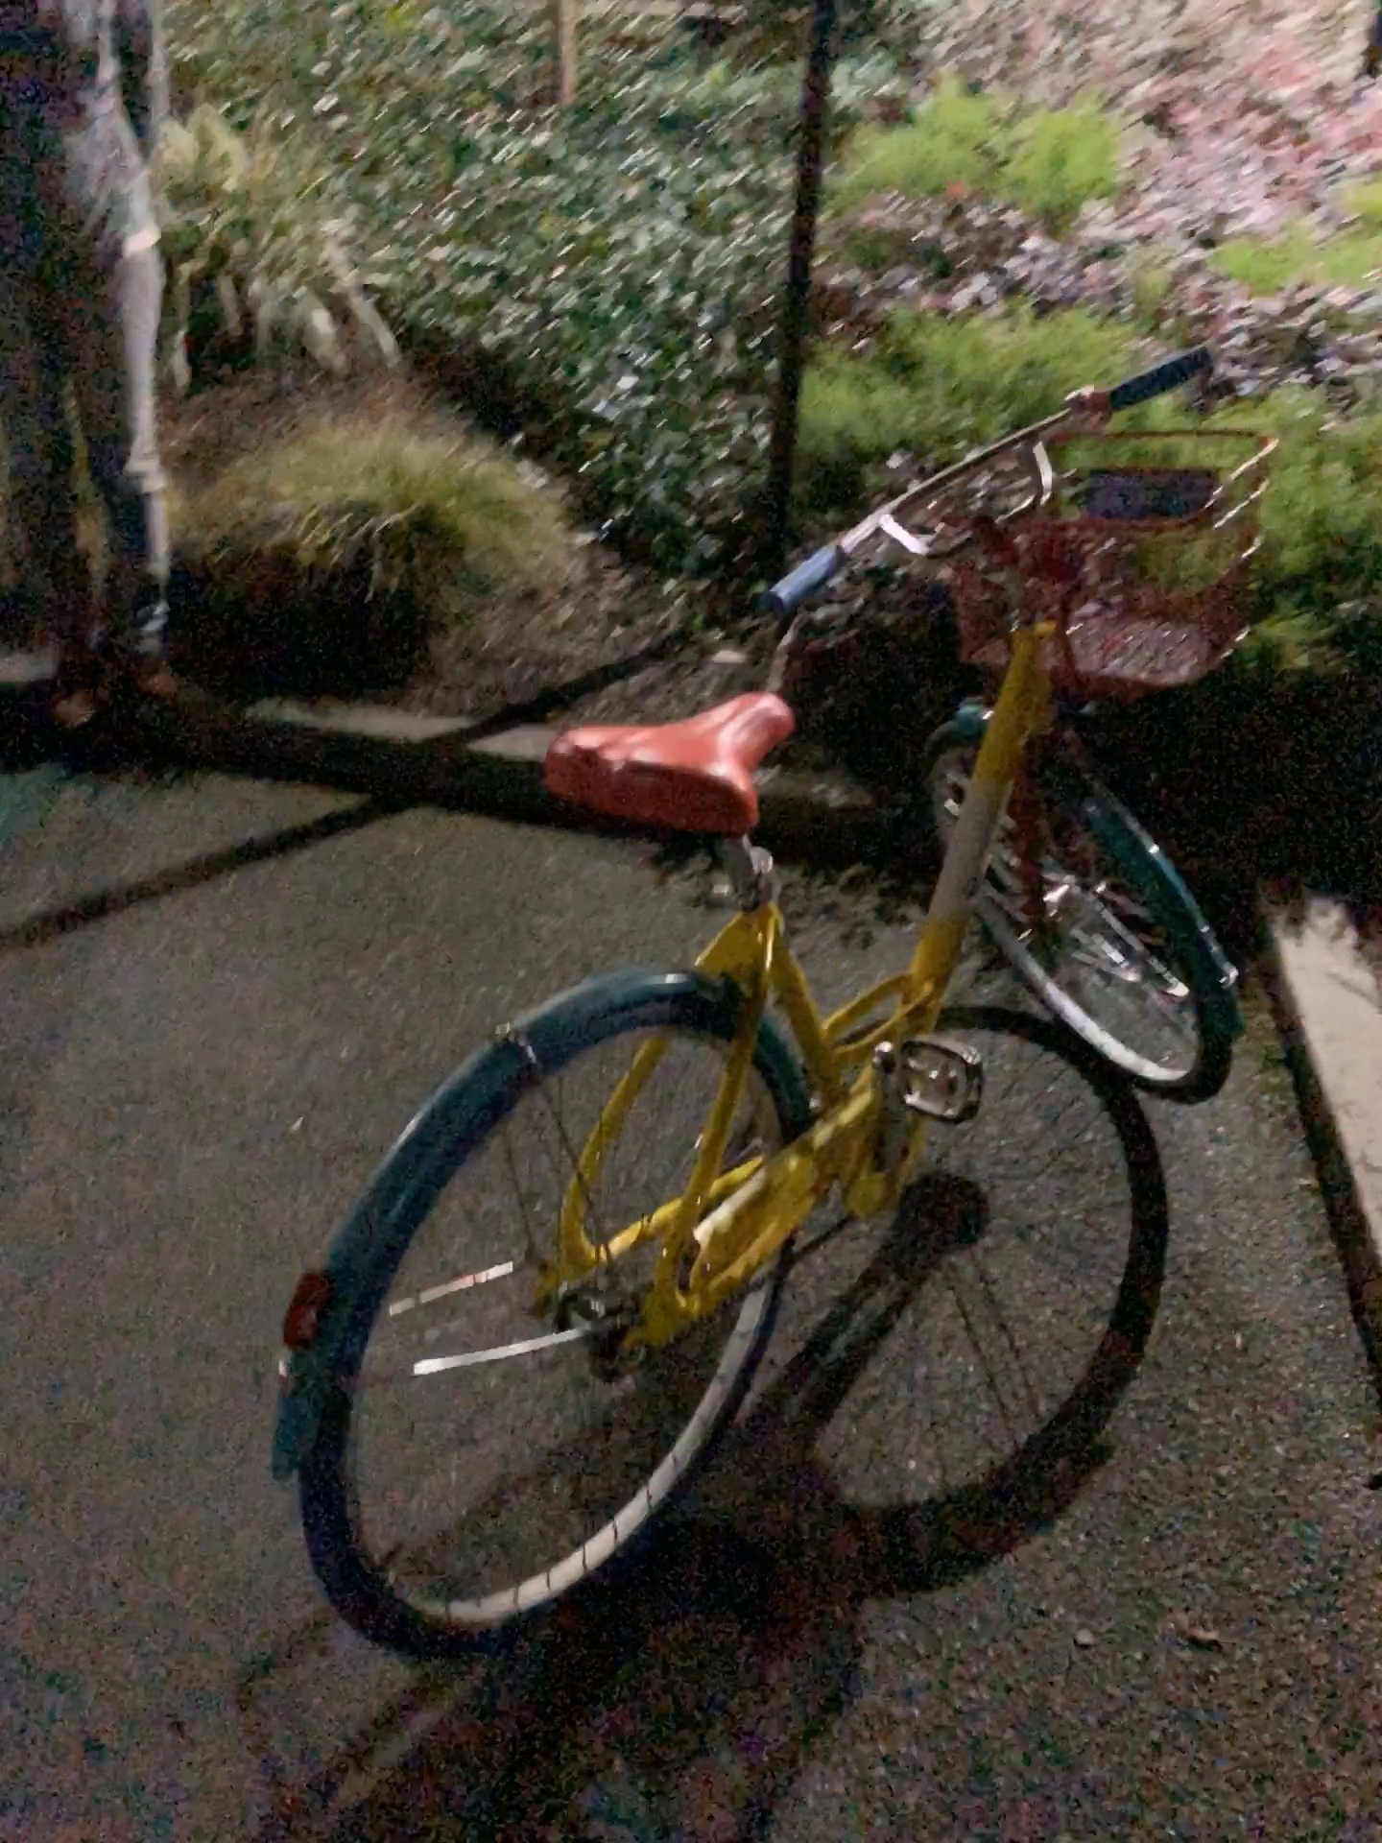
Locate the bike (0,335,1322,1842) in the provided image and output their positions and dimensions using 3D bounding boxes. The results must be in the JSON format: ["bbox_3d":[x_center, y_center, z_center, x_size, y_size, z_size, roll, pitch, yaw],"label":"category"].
[{"bbox_3d":[0.121,-0.008,1.629,0.601,1.085,1.588,21,33,24],"label":"bike"}]
